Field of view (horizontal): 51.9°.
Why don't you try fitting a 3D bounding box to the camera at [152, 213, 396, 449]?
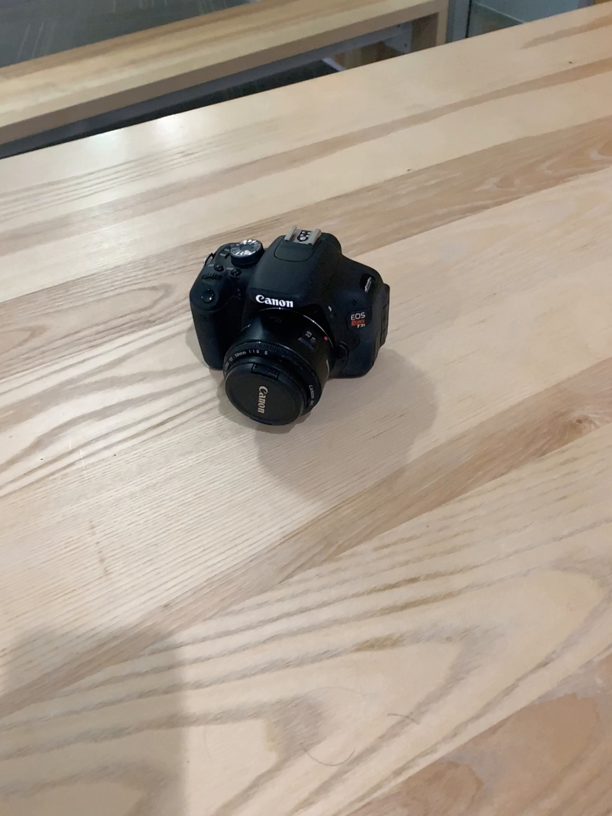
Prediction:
[{"bbox_3d":[-0.014,-0.060,0.448,0.127,0.089,0.127,11,49,14],"label":"camera"}]
